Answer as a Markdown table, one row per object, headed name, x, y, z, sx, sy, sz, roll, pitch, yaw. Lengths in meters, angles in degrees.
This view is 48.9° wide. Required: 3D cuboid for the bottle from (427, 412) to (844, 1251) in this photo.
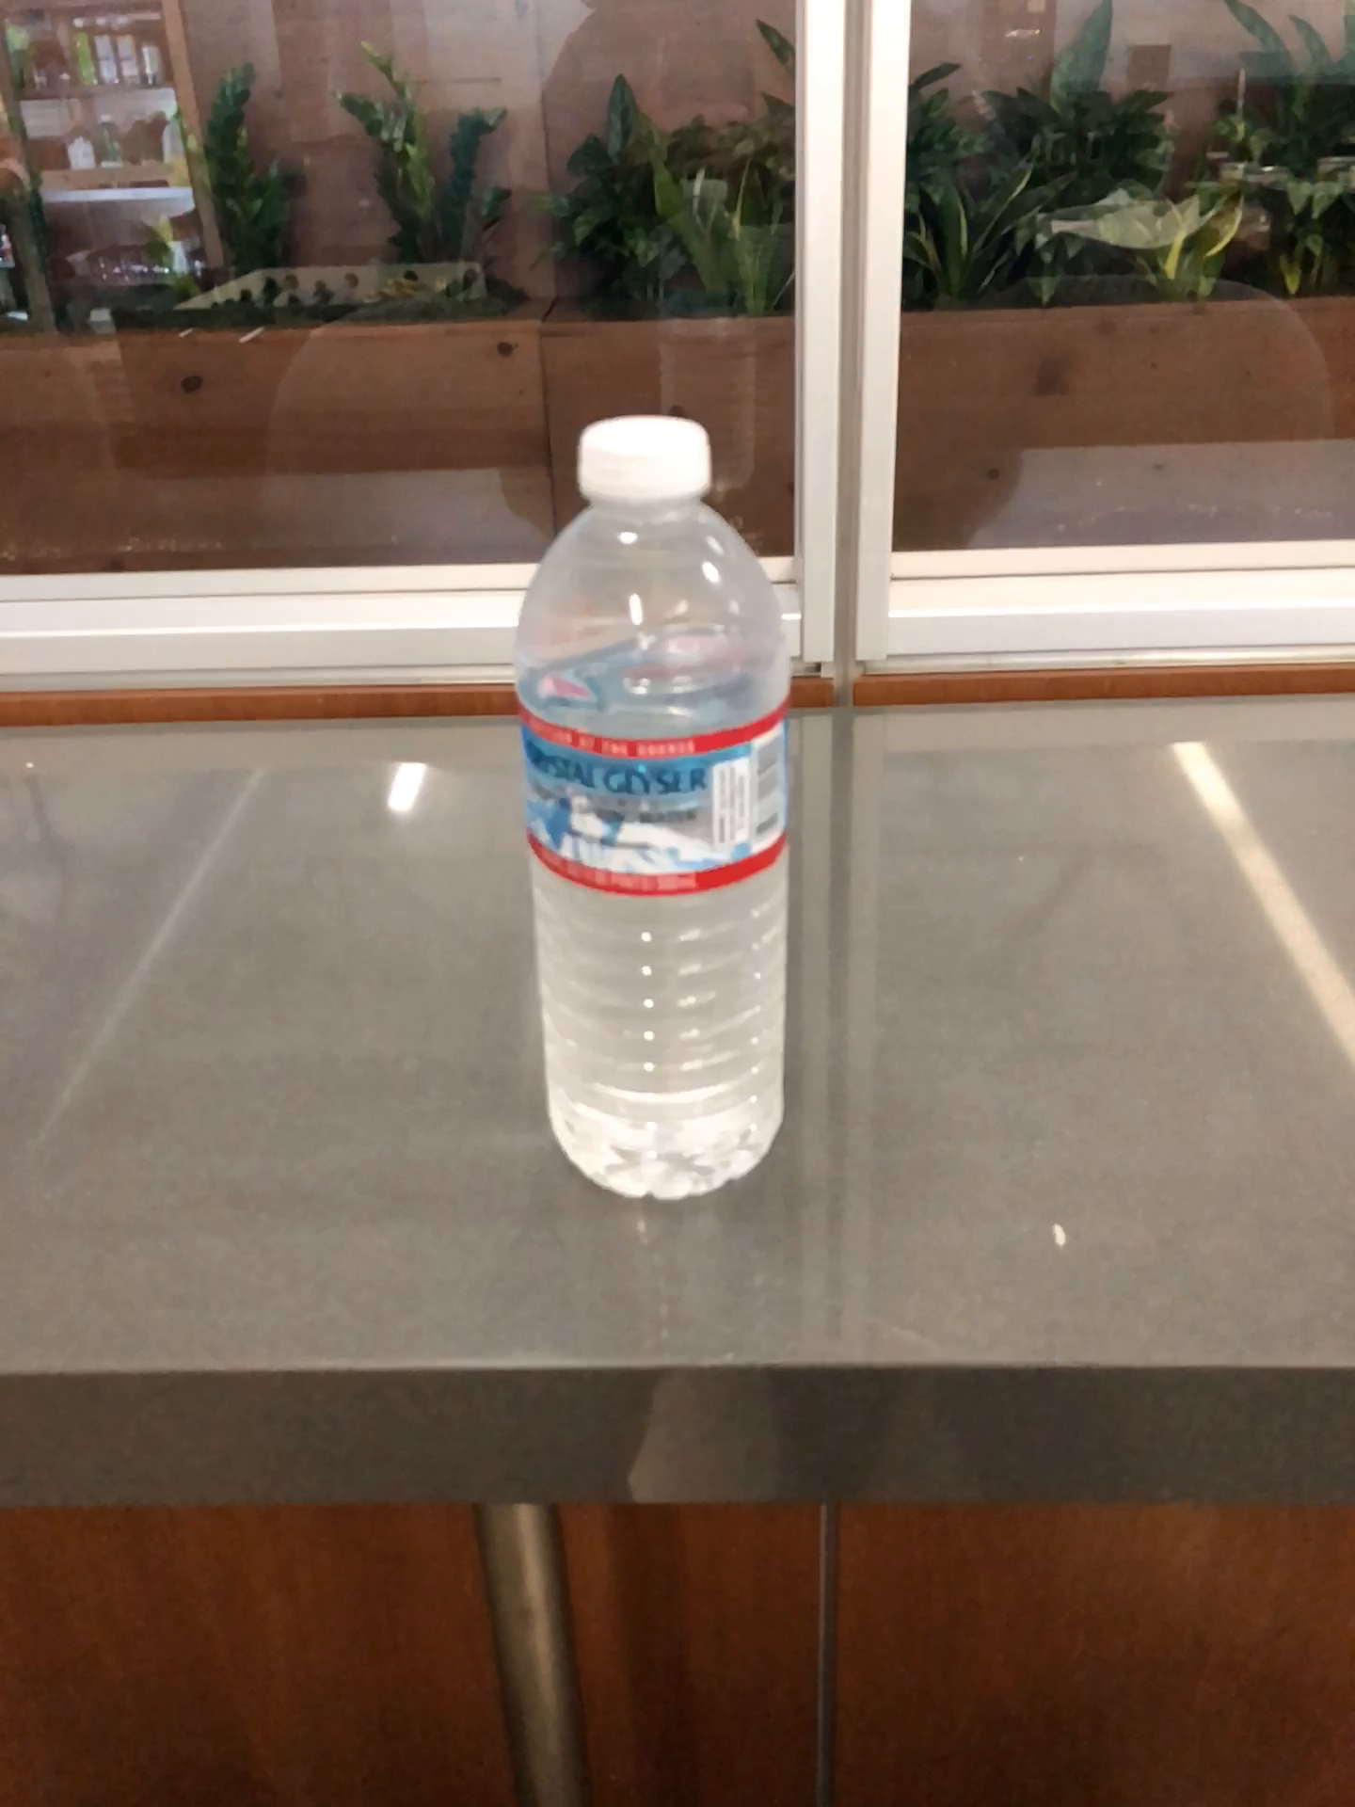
| name | x | y | z | sx | sy | sz | roll | pitch | yaw |
| --- | --- | --- | --- | --- | --- | --- | --- | --- | --- |
| bottle | -0.003 | -0.016 | 0.370 | 0.070 | 0.189 | 0.070 | -2 | 29 | 1 |
